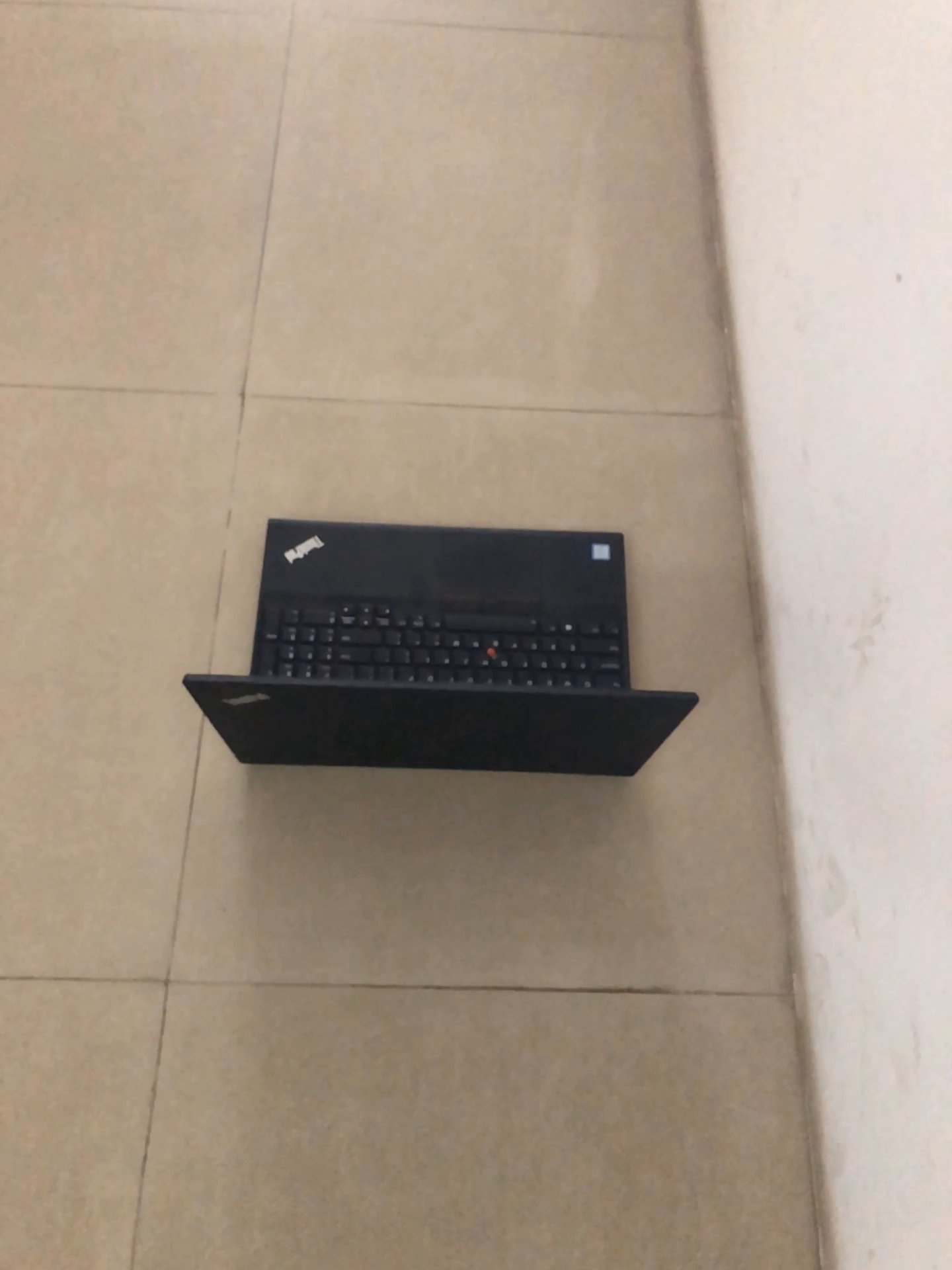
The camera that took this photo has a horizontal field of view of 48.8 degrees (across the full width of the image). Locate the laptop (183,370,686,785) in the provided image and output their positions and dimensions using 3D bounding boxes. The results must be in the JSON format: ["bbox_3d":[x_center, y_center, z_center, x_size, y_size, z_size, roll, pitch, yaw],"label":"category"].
[{"bbox_3d":[-0.027,-0.035,0.897,0.353,0.240,0.255,3,67,-3],"label":"laptop"}]
